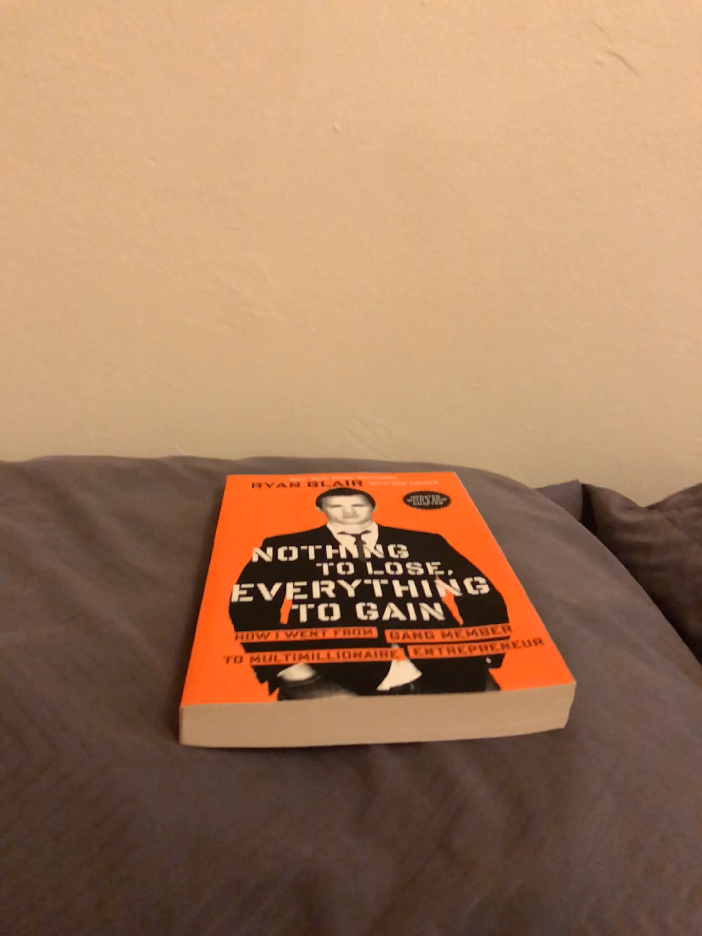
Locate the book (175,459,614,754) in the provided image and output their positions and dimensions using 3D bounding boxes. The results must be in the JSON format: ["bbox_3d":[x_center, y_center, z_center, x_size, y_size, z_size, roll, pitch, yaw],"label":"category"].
[{"bbox_3d":[0.007,0.048,0.372,0.150,0.020,0.231,3,21,-6],"label":"book"}]
